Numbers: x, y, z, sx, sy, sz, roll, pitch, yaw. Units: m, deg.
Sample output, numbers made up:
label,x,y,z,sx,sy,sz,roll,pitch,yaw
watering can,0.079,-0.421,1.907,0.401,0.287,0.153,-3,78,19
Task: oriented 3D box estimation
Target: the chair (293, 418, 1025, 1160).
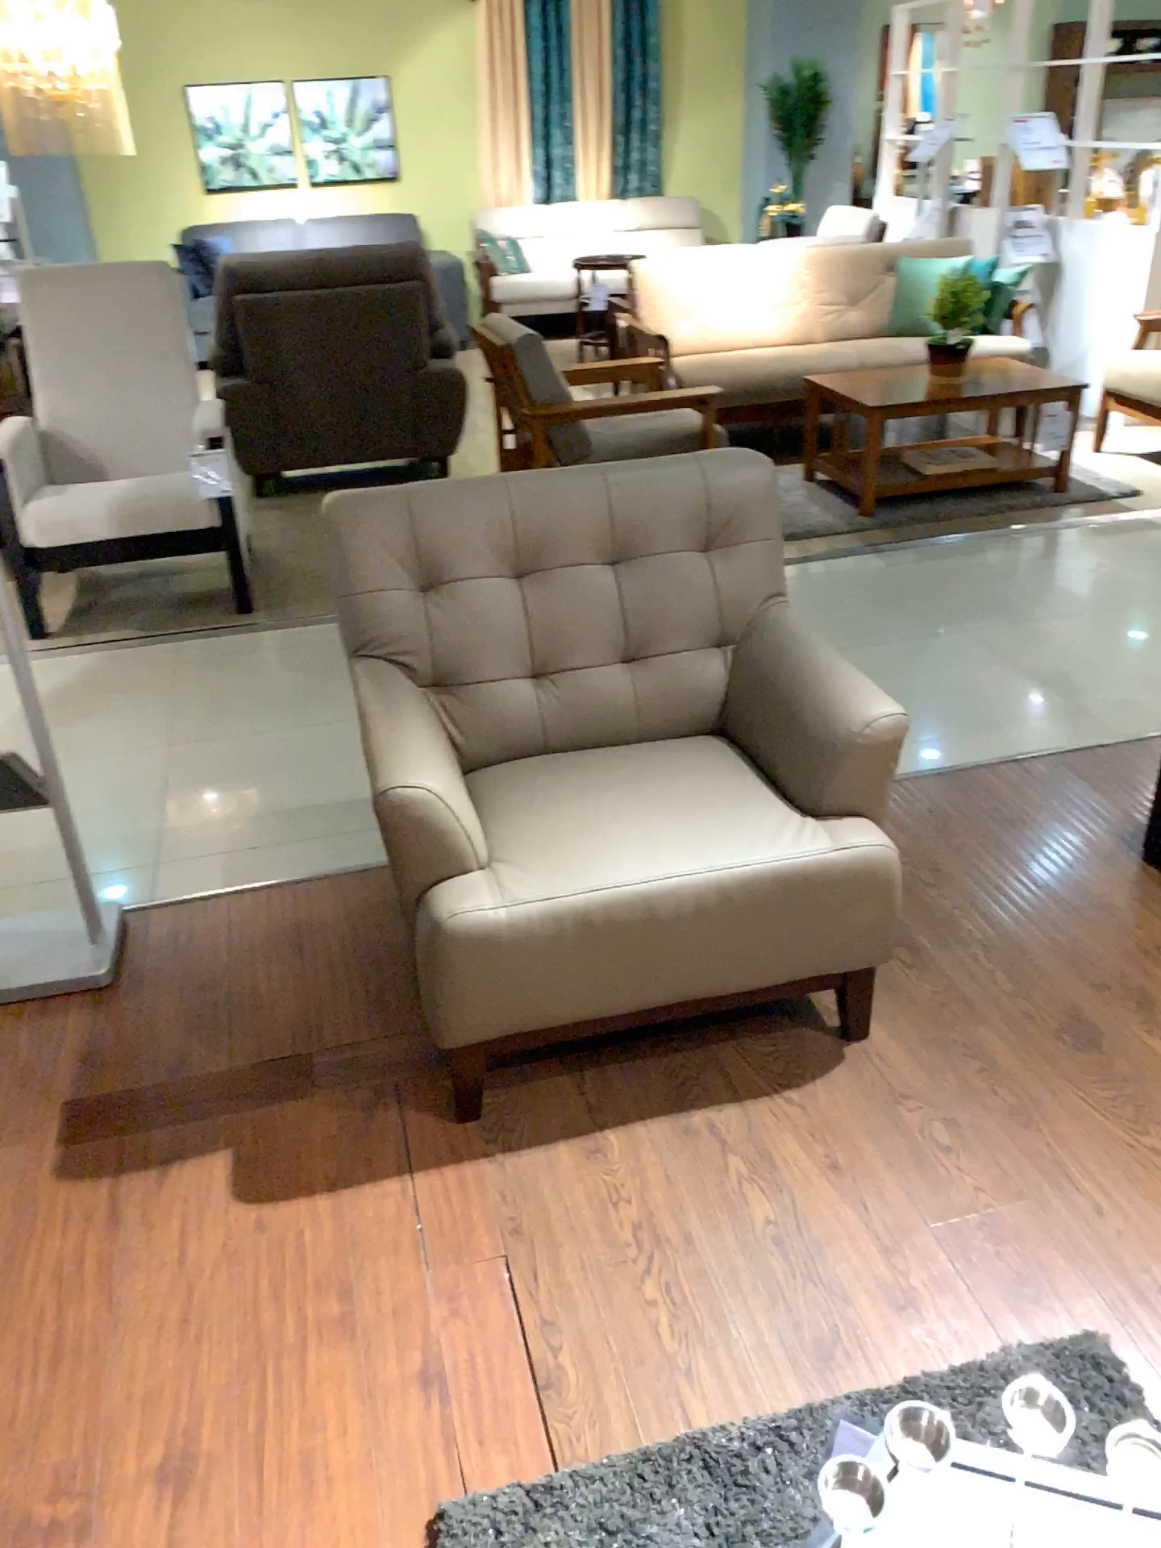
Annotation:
label,x,y,z,sx,sy,sz,roll,pitch,yaw
chair,0.044,-0.075,2.171,0.950,0.856,1.005,-9,29,-12
